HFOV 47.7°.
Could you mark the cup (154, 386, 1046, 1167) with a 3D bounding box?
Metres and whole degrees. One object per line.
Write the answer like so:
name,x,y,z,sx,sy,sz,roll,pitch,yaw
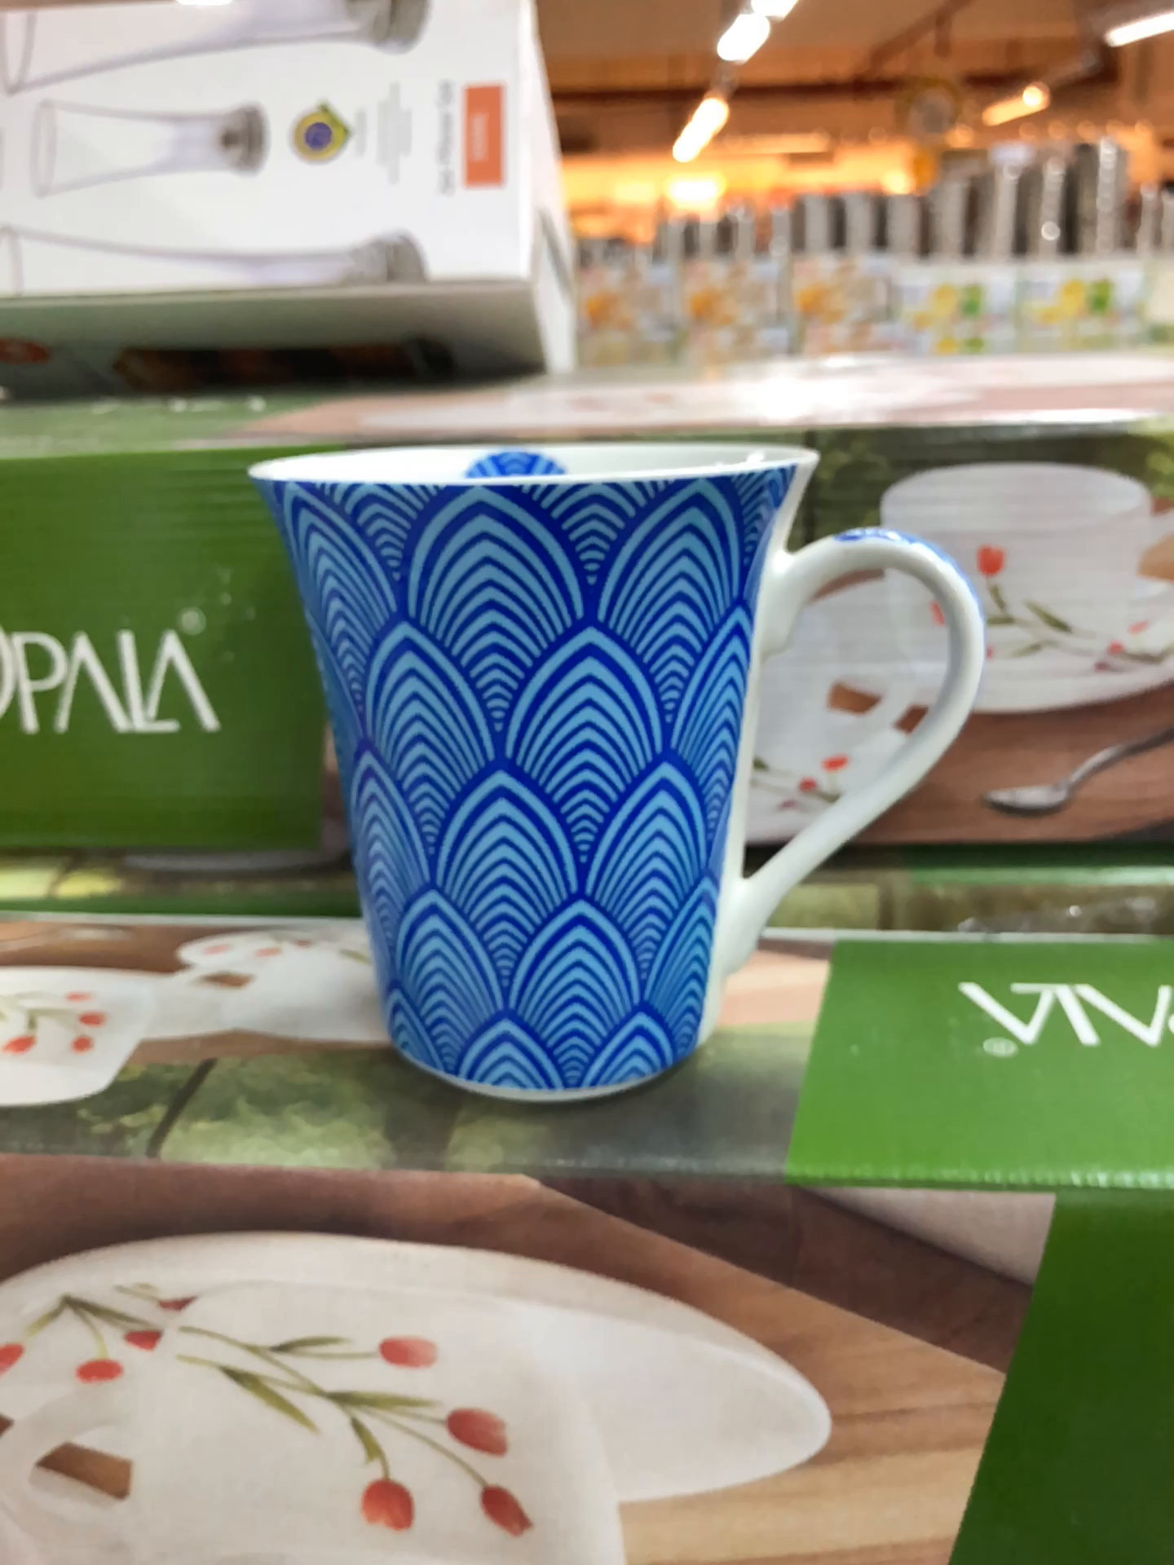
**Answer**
cup,0.007,-0.007,0.217,0.110,0.099,0.080,1,22,9
